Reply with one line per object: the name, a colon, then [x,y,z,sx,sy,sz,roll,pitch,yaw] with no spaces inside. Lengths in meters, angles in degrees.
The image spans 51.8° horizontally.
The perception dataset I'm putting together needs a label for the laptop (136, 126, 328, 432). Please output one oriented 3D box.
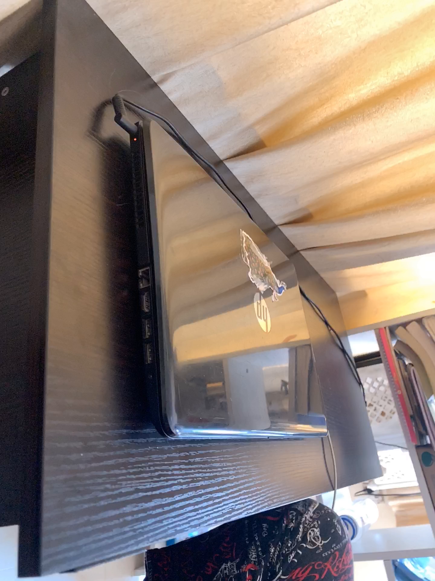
laptop: [0.040,0.028,0.481,0.375,0.006,0.237,29,49,-57]
